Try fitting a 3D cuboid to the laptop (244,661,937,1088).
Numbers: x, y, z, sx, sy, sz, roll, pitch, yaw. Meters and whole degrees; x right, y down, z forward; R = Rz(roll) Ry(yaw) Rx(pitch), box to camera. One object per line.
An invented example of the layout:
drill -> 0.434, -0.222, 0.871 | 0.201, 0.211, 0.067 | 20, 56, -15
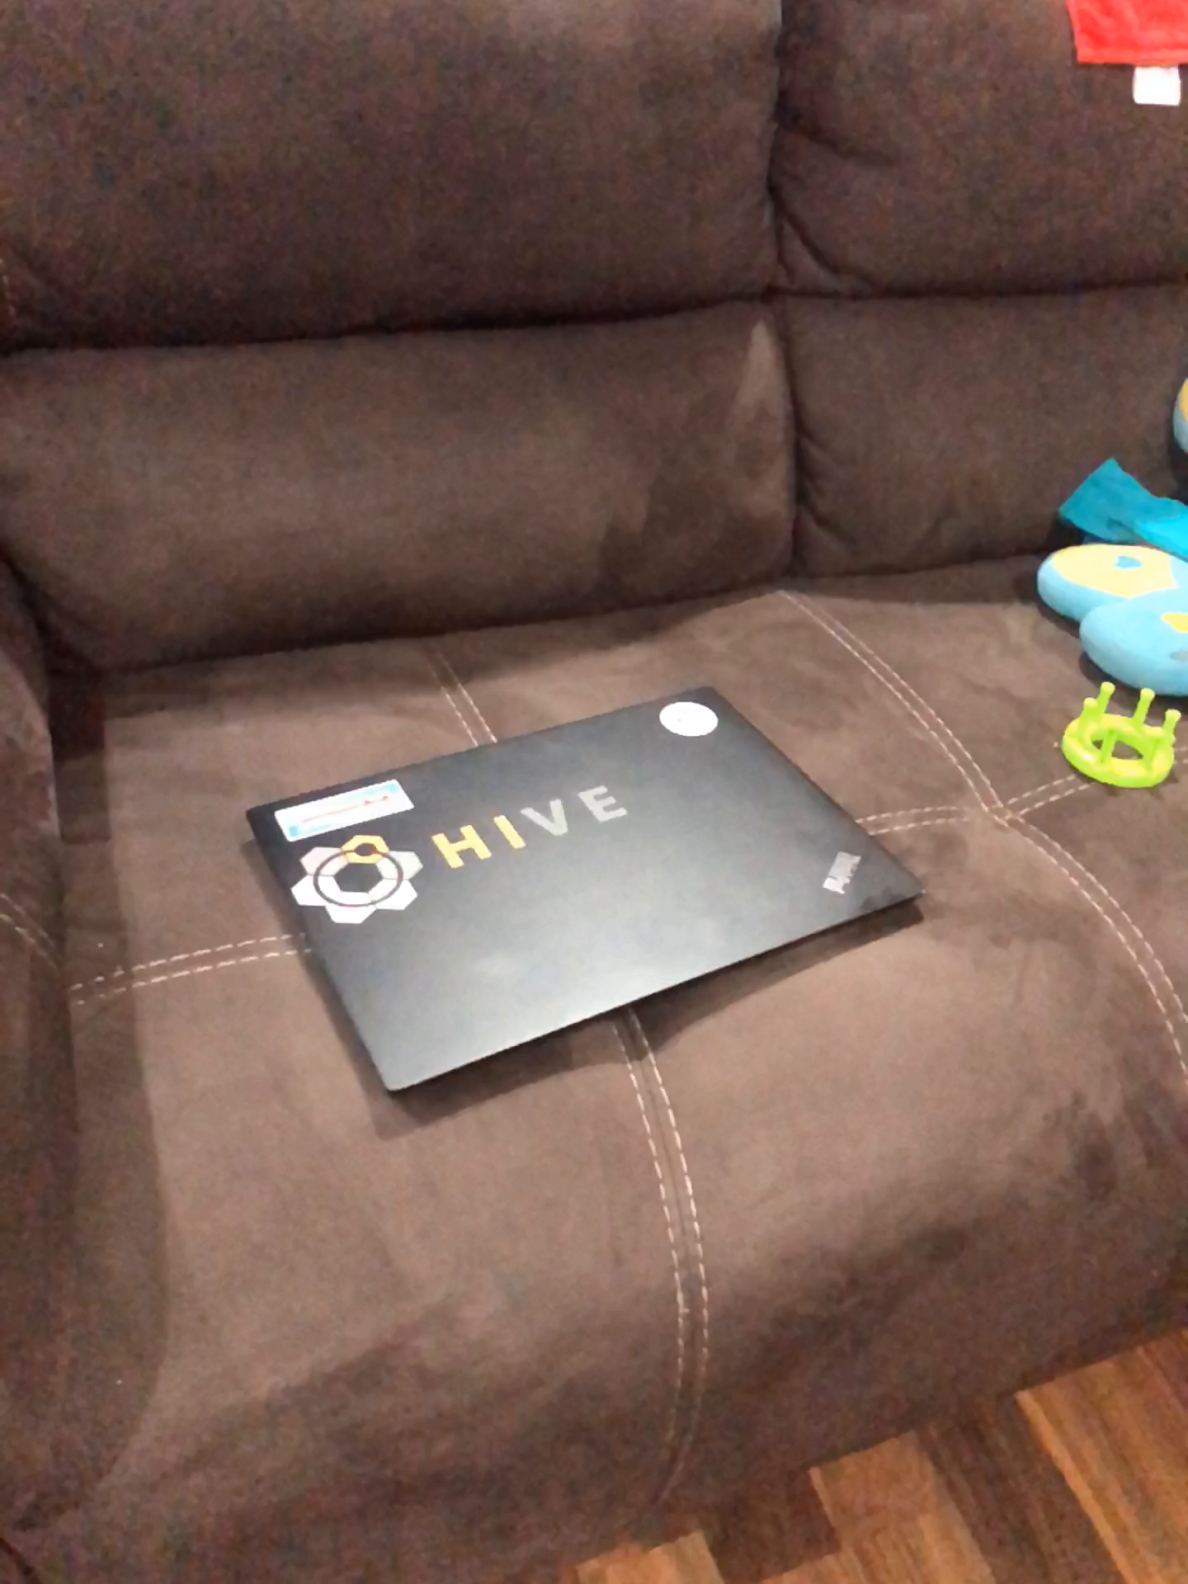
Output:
laptop -> -0.008, 0.026, 0.761 | 0.329, 0.019, 0.236 | -17, 42, -22
